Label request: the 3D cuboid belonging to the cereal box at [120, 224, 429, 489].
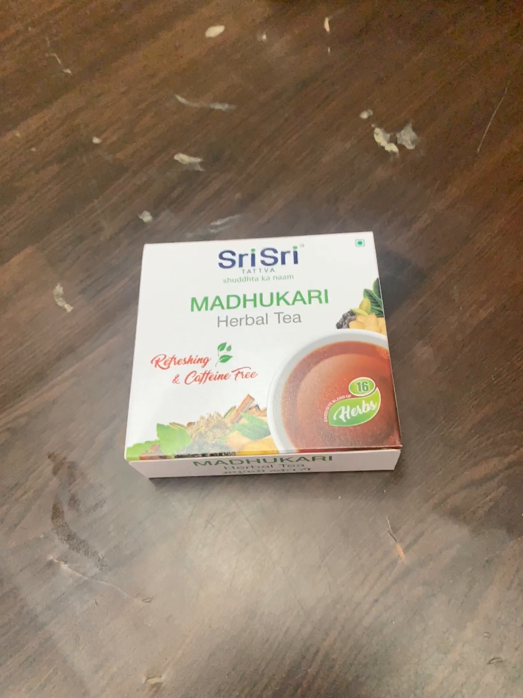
[{"bbox_3d":[0.005,0.004,0.271,0.130,0.040,0.120,-3,66,5],"label":"cereal box"}]
